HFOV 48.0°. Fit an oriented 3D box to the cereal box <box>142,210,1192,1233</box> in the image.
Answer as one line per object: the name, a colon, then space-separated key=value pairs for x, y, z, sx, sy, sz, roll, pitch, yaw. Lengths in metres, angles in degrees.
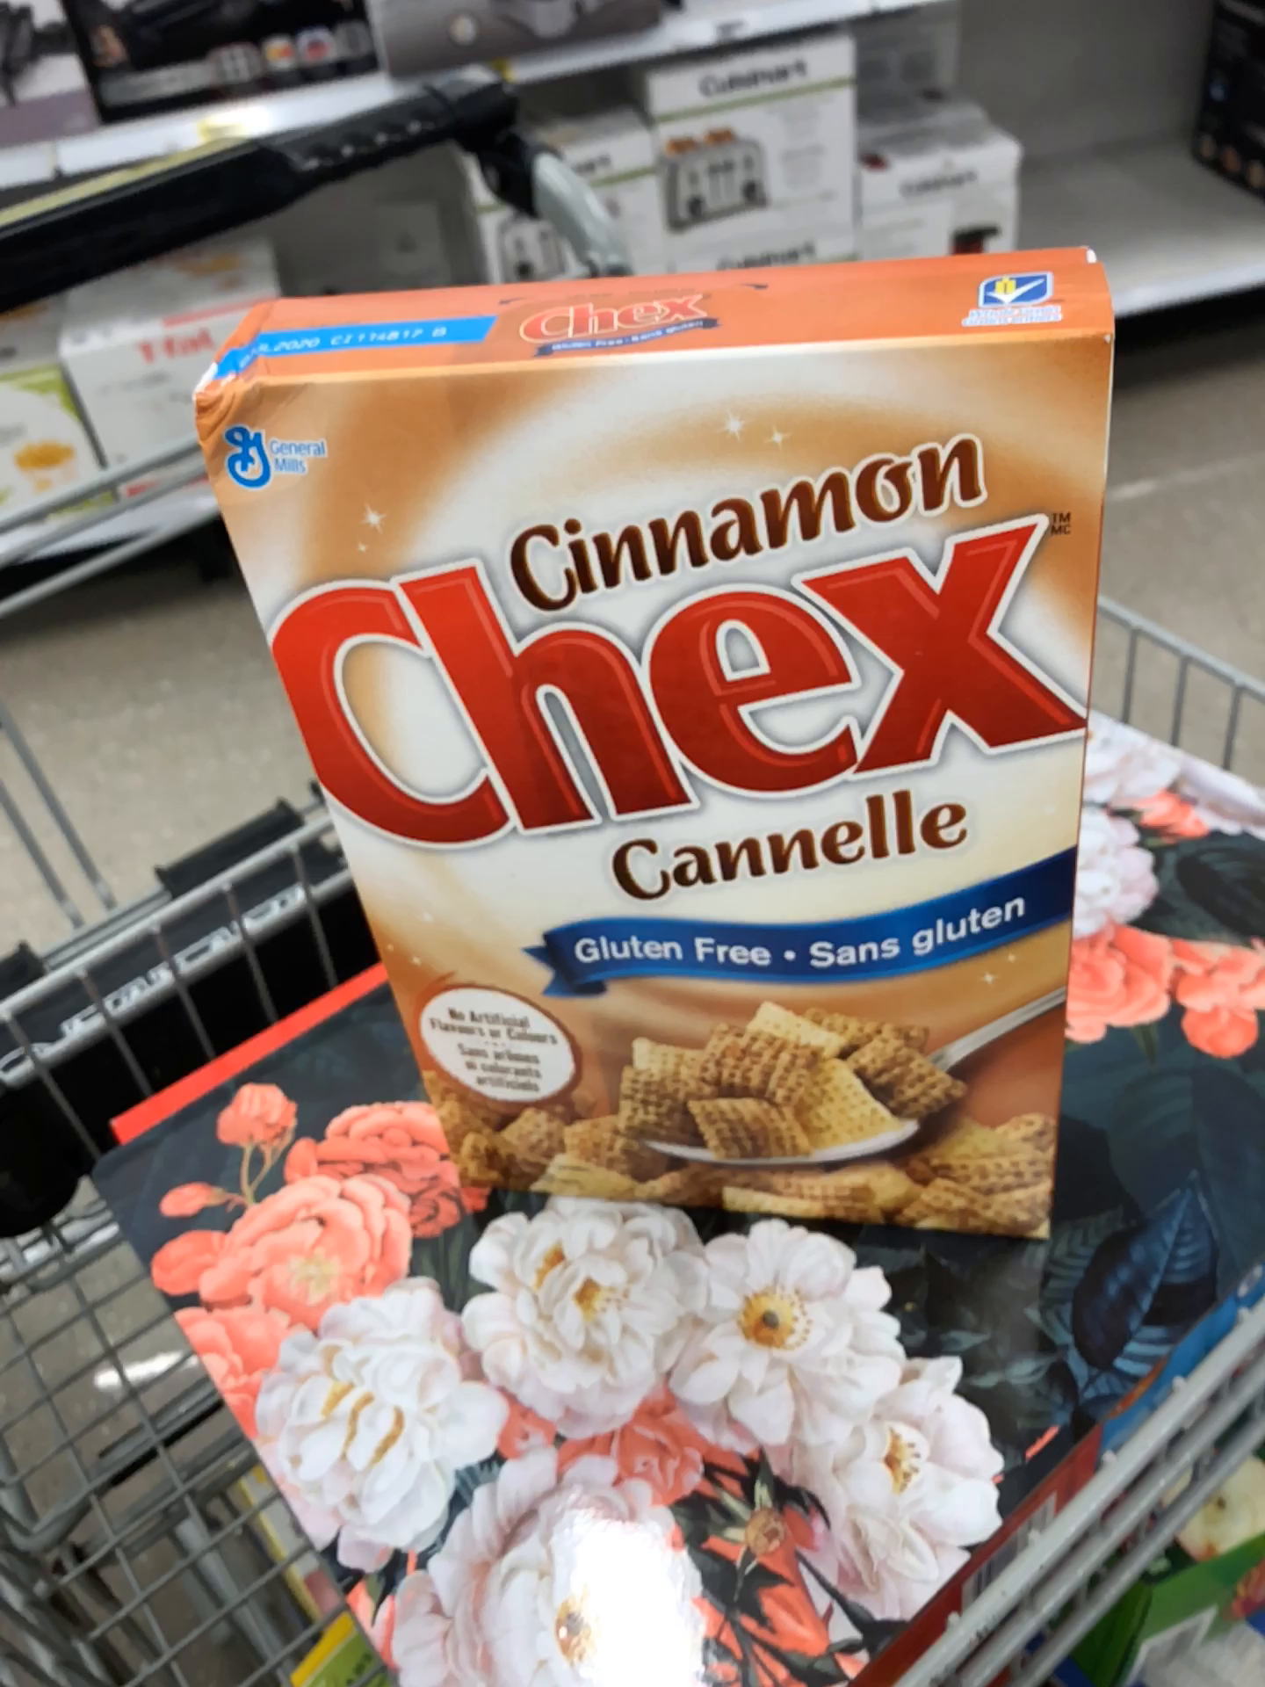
cereal box: x=0.017 y=-0.013 z=0.368 sx=0.200 sy=0.259 sz=0.060 roll=1 pitch=37 yaw=10
